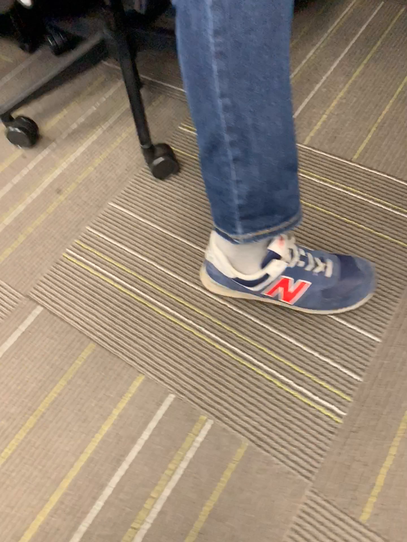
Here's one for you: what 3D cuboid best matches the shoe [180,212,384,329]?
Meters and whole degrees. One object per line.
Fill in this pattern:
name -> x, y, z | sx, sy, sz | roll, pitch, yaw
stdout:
shoe -> 0.131, 0.000, 0.721 | 0.307, 0.139, 0.108 | 8, 62, 12
